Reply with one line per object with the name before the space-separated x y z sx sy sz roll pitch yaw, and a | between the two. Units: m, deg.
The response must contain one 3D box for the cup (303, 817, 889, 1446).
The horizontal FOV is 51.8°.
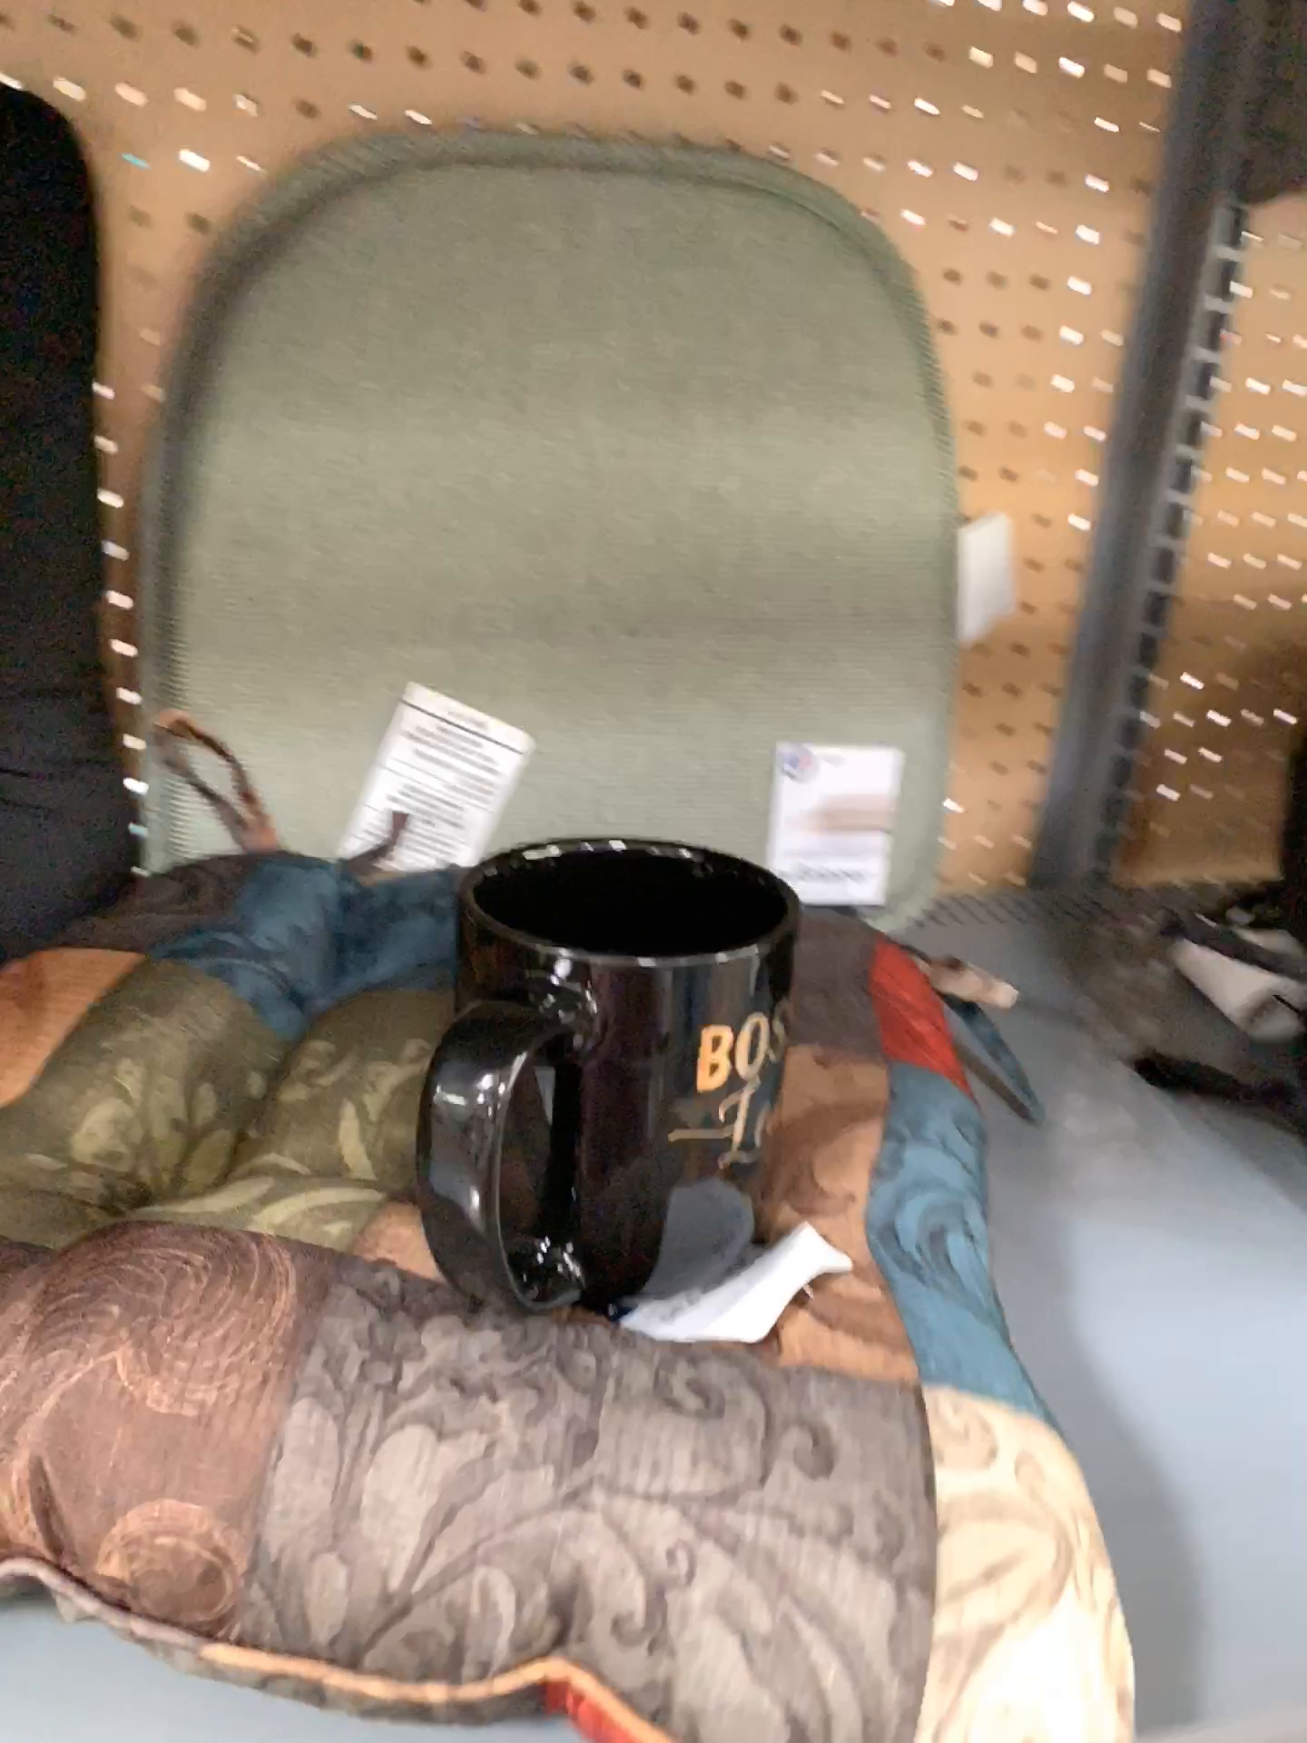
cup | -0.009 0.054 0.356 0.100 0.100 0.130 13 15 19
